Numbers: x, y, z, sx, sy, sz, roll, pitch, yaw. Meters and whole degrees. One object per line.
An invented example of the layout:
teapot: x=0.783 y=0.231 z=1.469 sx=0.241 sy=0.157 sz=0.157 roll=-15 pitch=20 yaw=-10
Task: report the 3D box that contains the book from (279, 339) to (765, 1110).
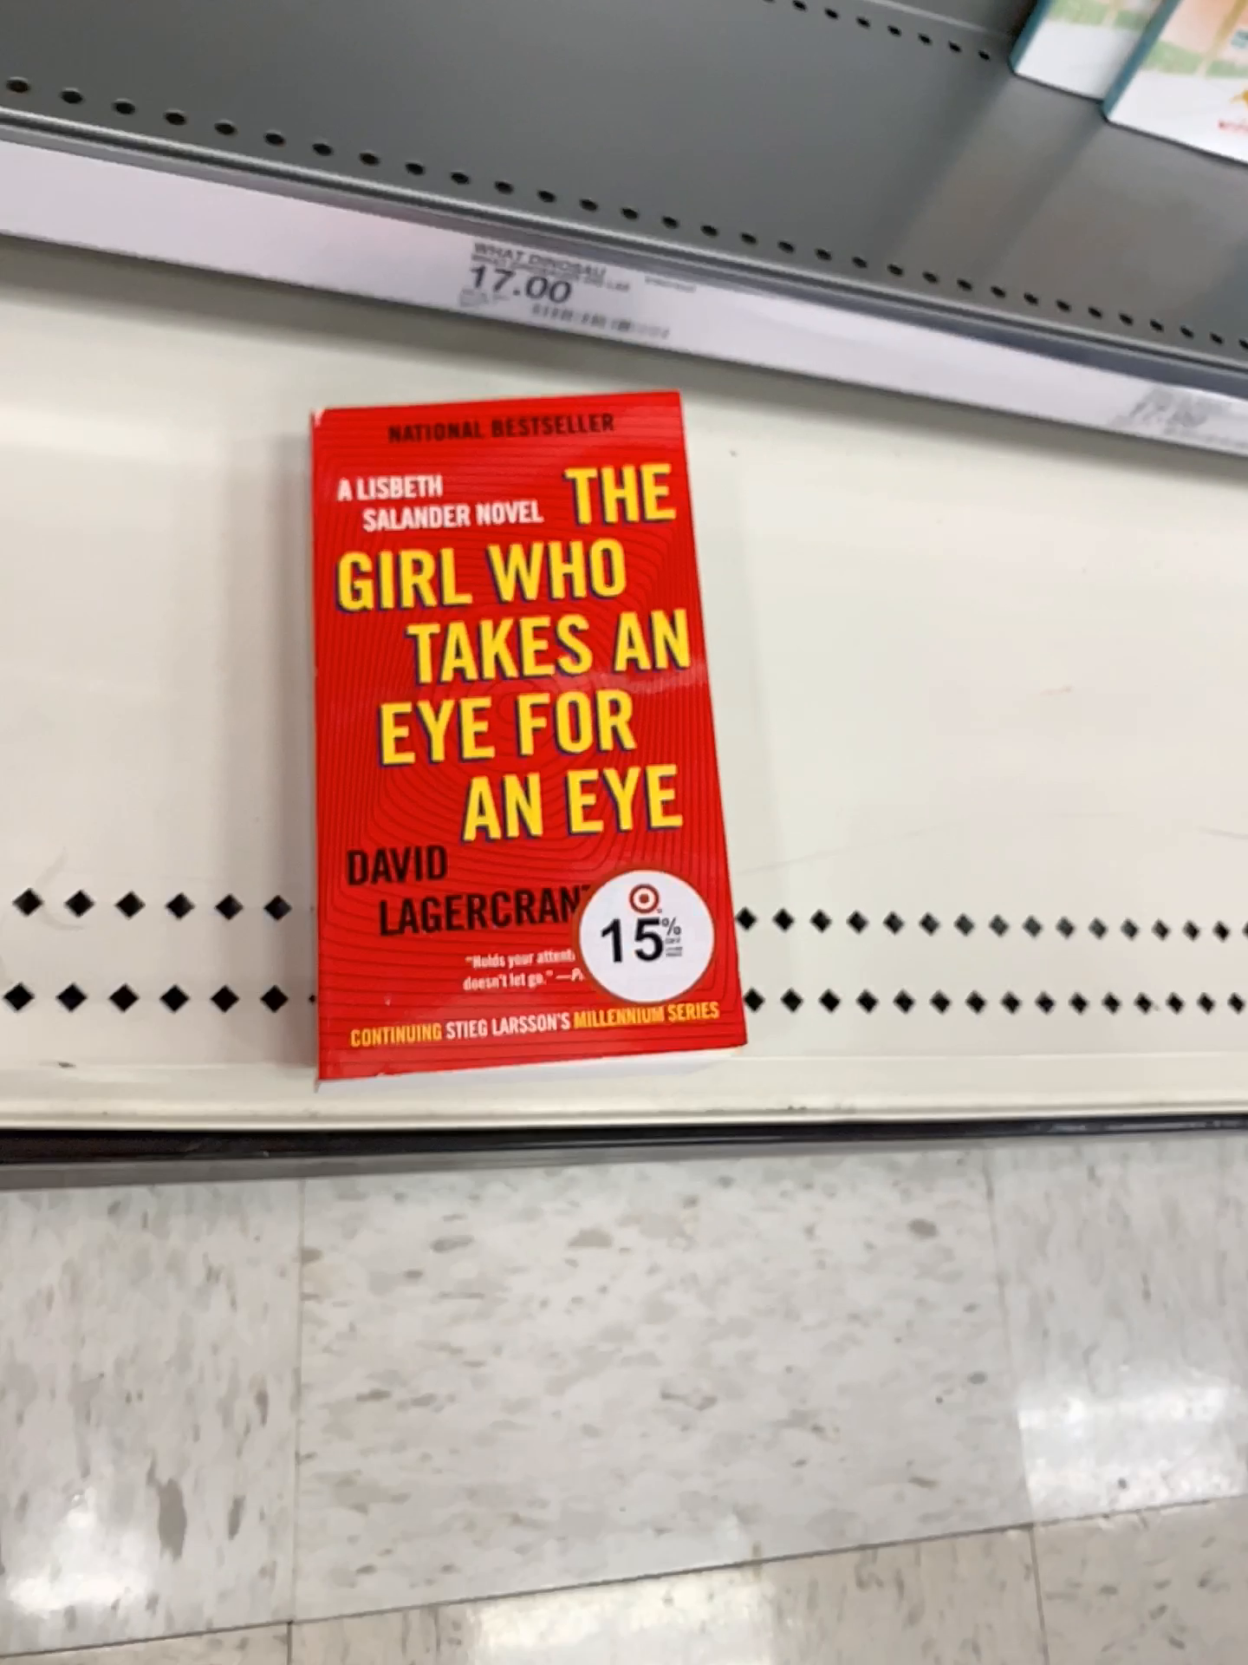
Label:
book: x=-0.034 y=-0.030 z=0.360 sx=0.115 sy=0.046 sz=0.199 roll=0 pitch=73 yaw=-17
